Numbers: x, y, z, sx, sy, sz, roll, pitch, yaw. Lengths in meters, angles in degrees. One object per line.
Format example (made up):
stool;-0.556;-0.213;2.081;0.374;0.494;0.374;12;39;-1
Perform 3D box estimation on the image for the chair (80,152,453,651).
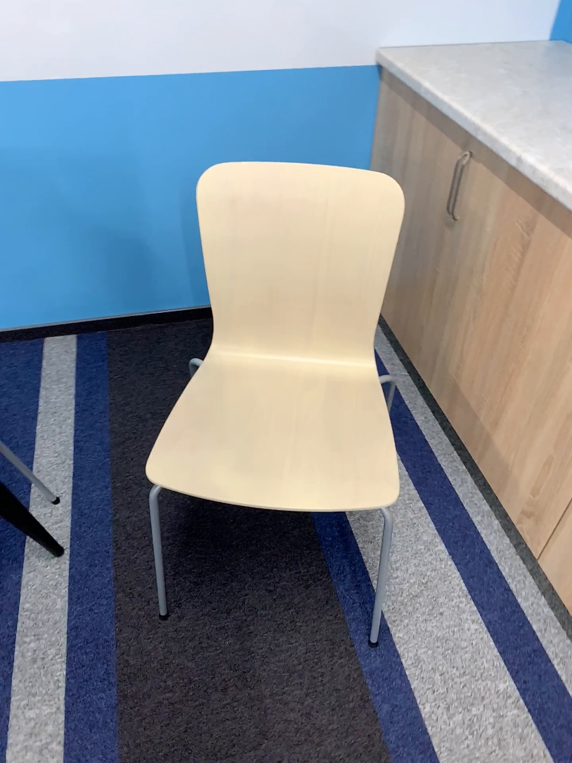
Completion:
chair;-0.002;0.057;1.225;0.476;0.836;0.573;5;41;5
